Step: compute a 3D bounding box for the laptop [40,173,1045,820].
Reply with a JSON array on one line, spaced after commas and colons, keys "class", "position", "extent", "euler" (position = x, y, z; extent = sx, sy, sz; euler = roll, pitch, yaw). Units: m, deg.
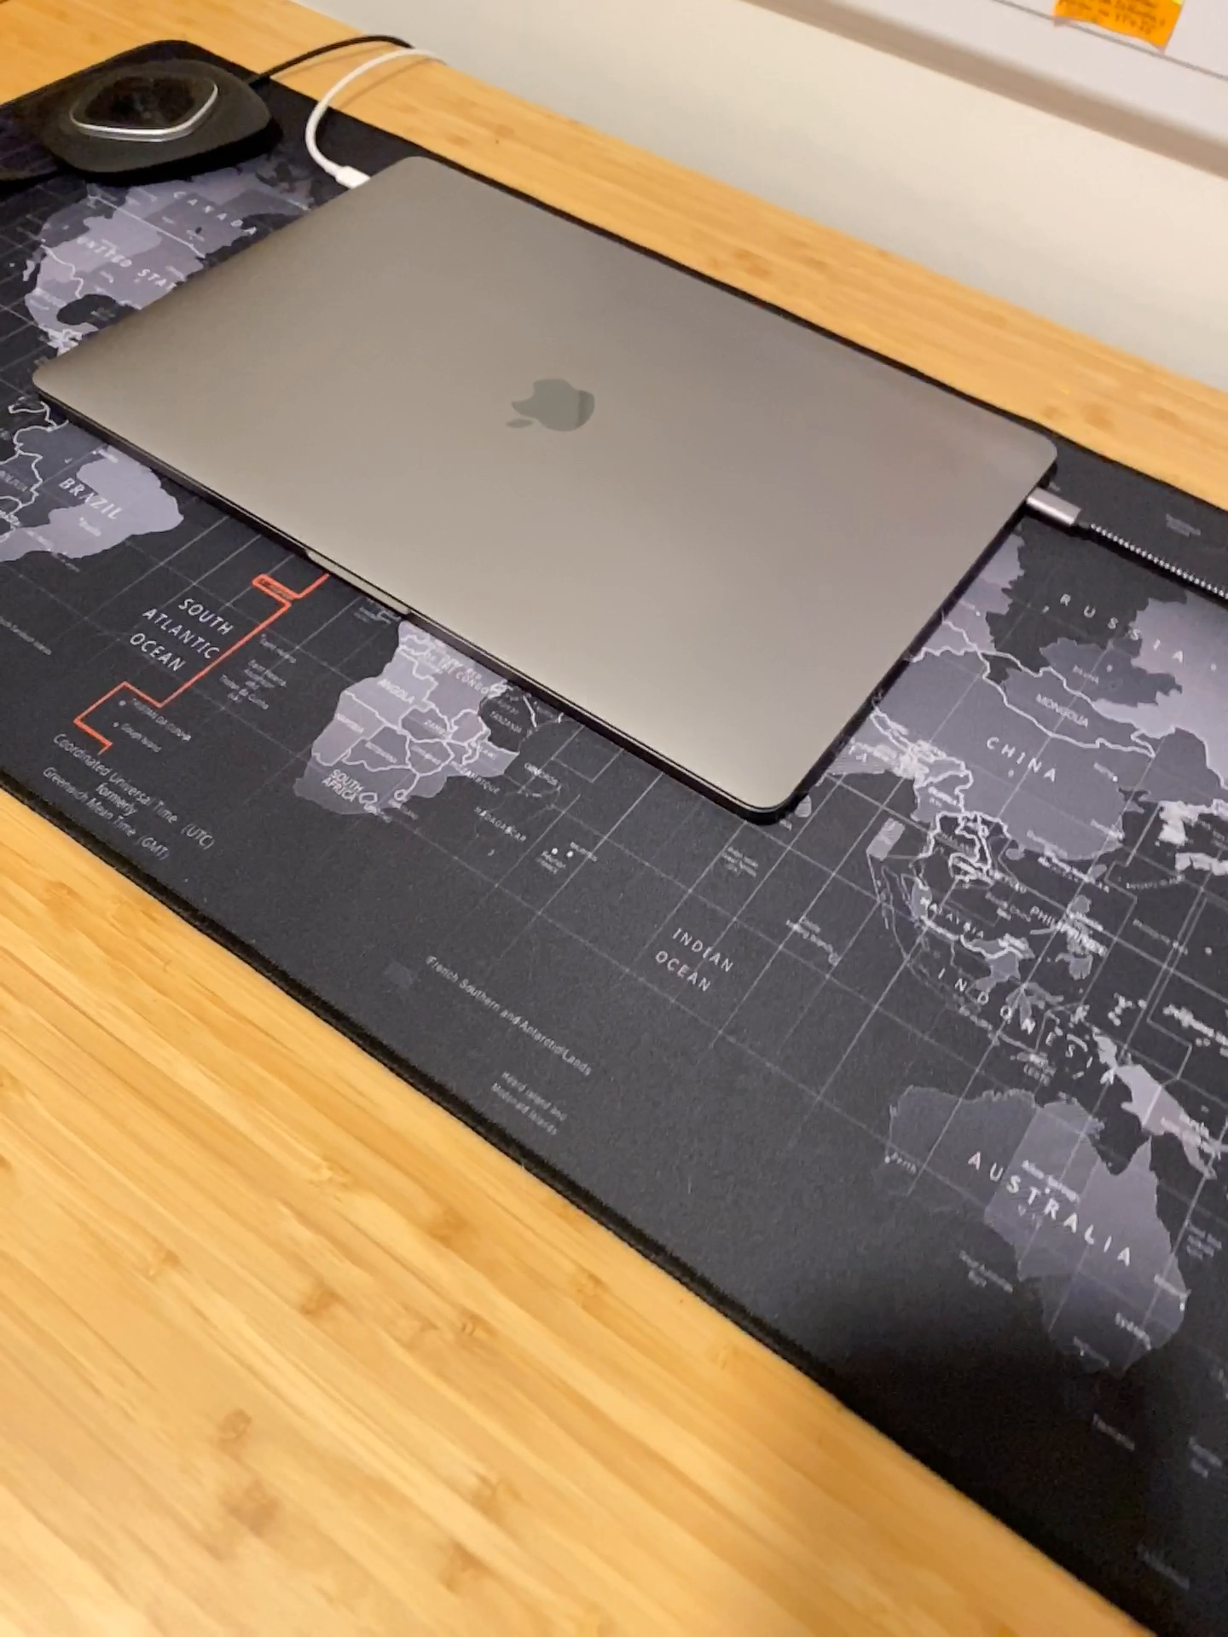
[{"class": "laptop", "position": [-0.026, -0.157, 0.500], "extent": [0.336, 0.002, 0.227], "euler": [31, 57, 18]}]
